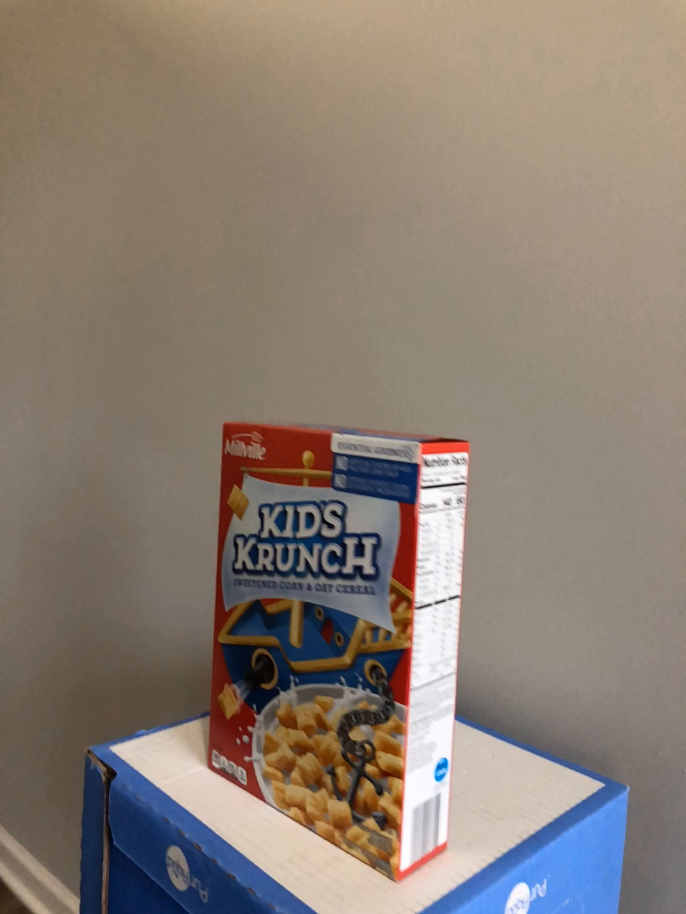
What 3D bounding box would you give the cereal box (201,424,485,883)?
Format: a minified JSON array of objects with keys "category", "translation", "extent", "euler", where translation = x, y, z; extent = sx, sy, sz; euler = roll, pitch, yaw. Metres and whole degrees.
[{"category":"cereal box","translation":[-0.011,0.117,0.550],"extent":[0.210,0.270,0.060],"euler":[7,5,43]}]
